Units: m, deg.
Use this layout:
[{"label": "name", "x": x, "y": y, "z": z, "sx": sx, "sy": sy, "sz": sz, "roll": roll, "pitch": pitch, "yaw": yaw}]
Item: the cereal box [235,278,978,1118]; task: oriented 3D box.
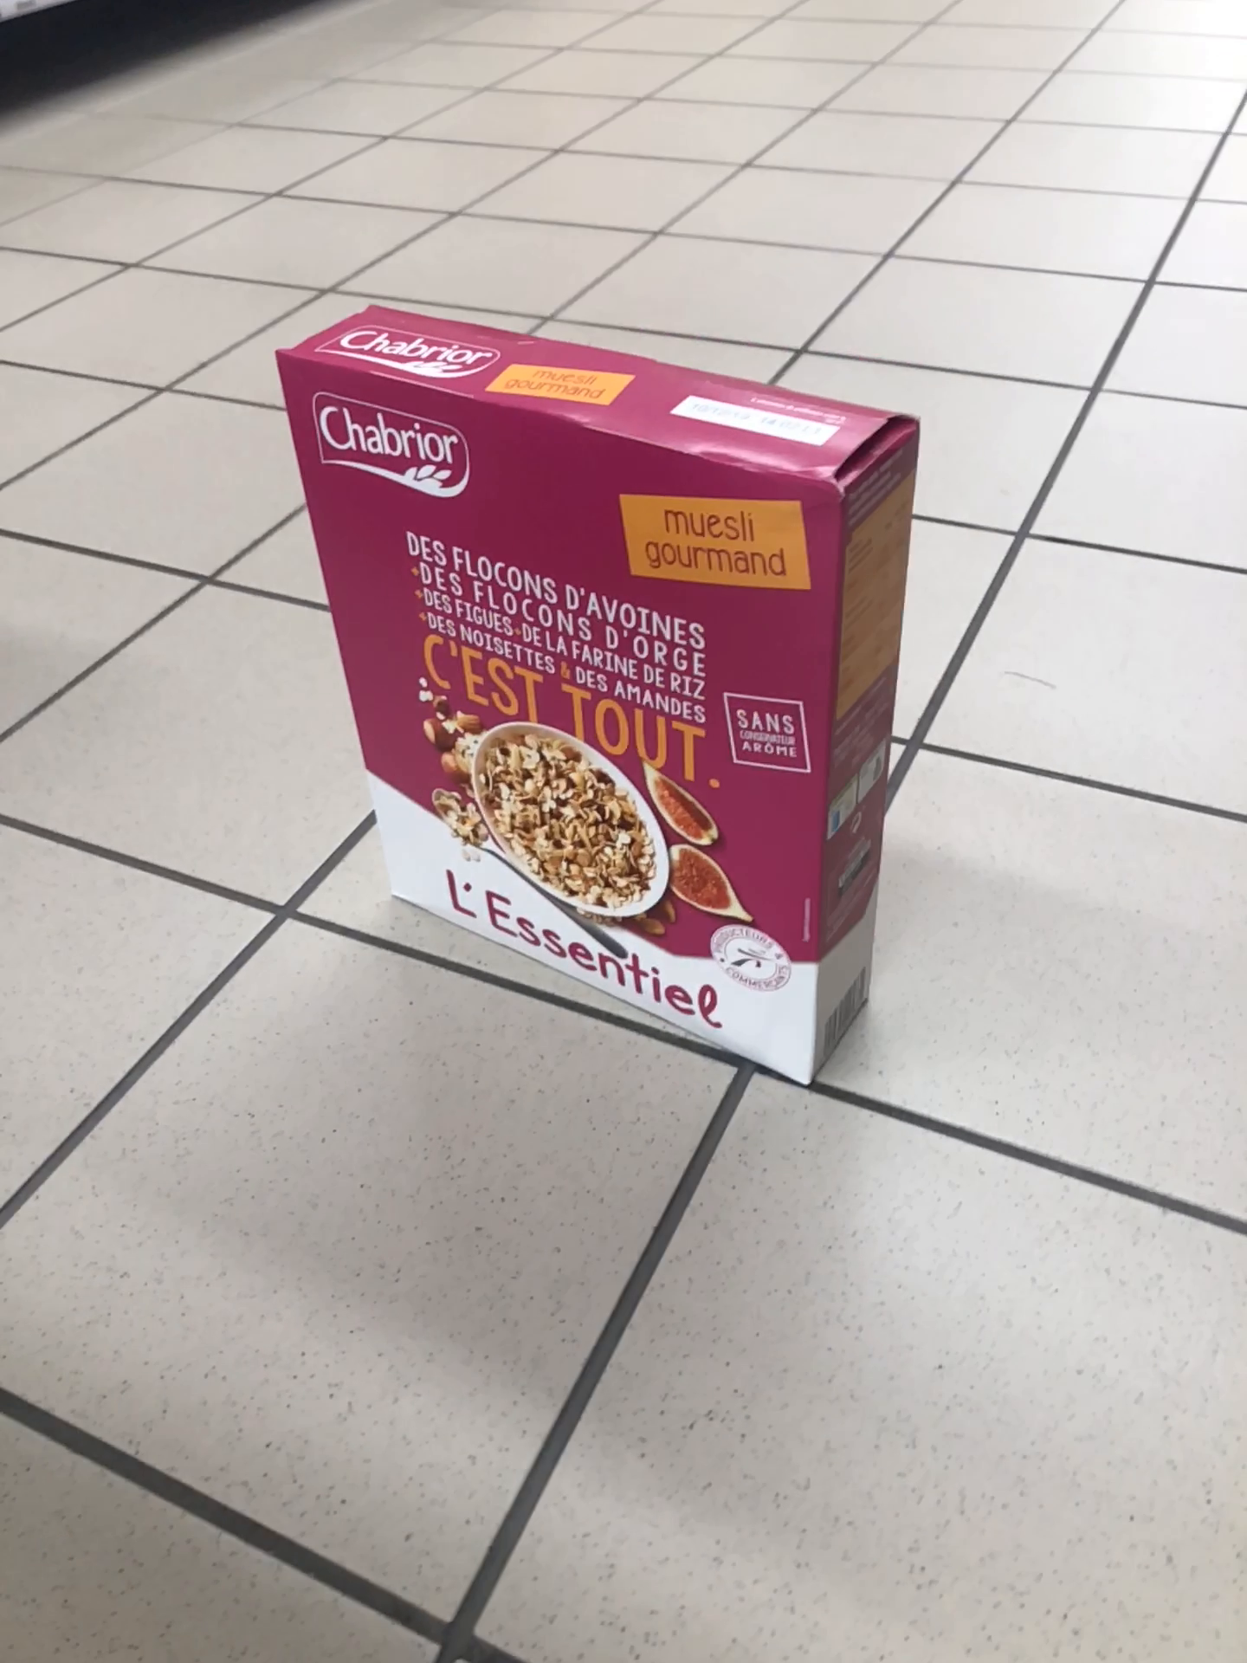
[{"label": "cereal box", "x": -0.006, "y": -0.042, "z": 0.455, "sx": 0.210, "sy": 0.229, "sz": 0.060, "roll": 21, "pitch": 46, "yaw": 27}]
